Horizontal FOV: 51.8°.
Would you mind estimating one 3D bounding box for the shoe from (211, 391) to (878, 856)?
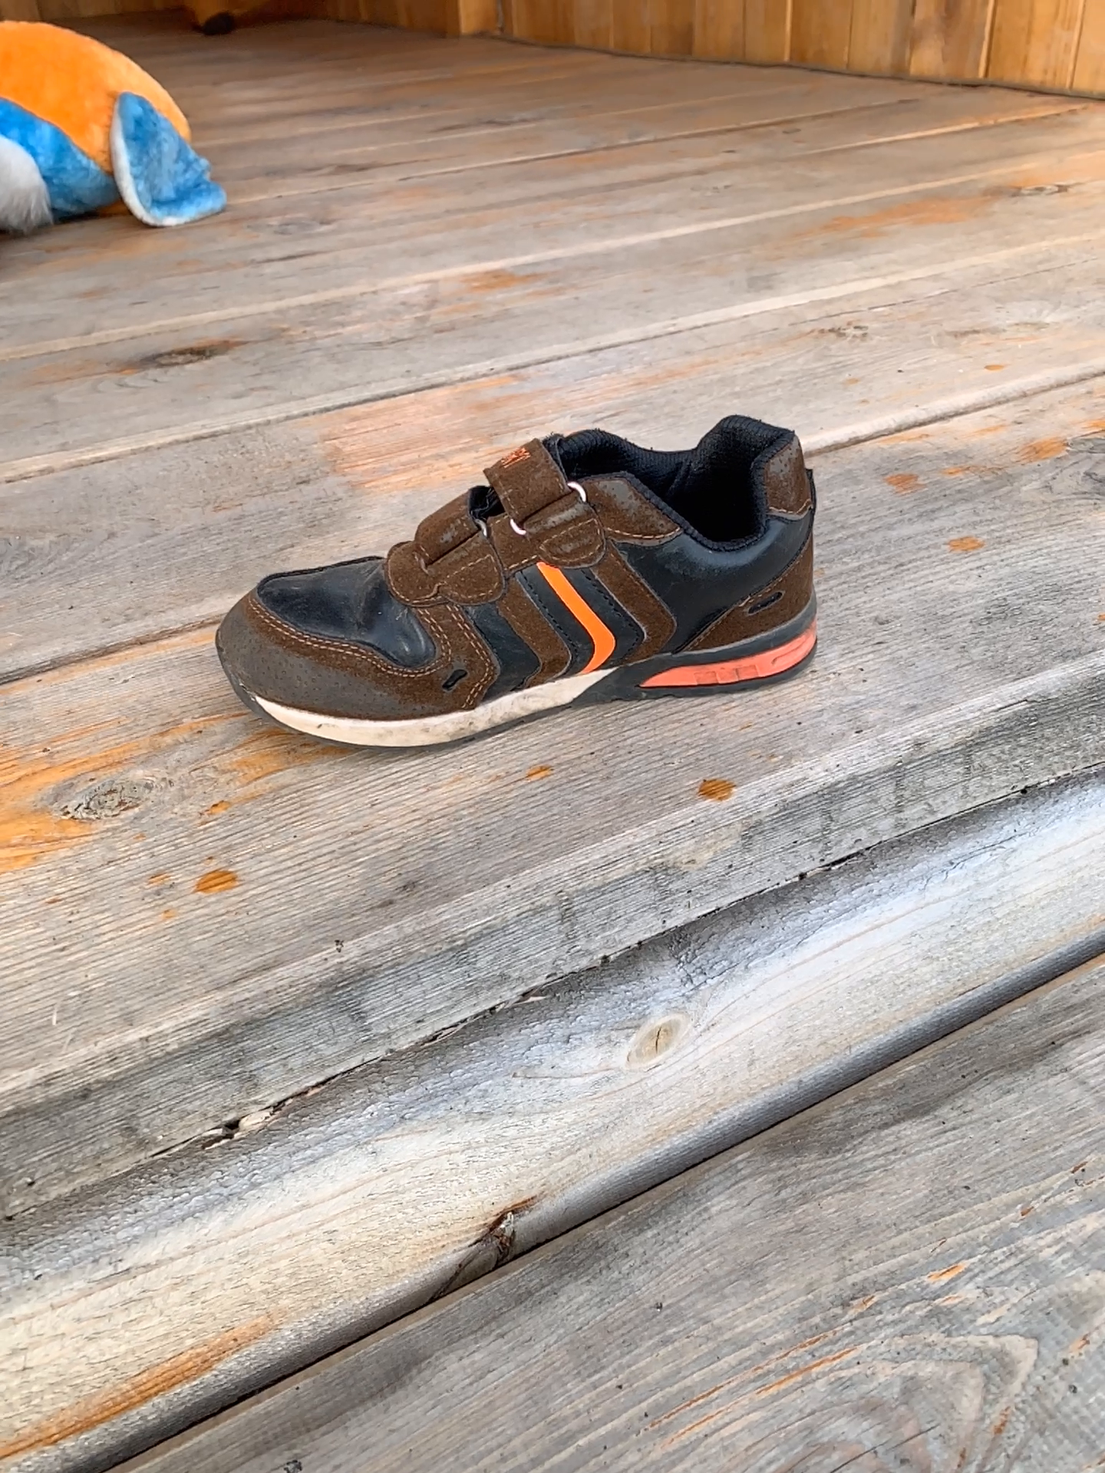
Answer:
[{"bbox_3d":[-0.006,-0.043,0.376,0.190,0.089,0.091,-11,36,-9],"label":"shoe"}]
